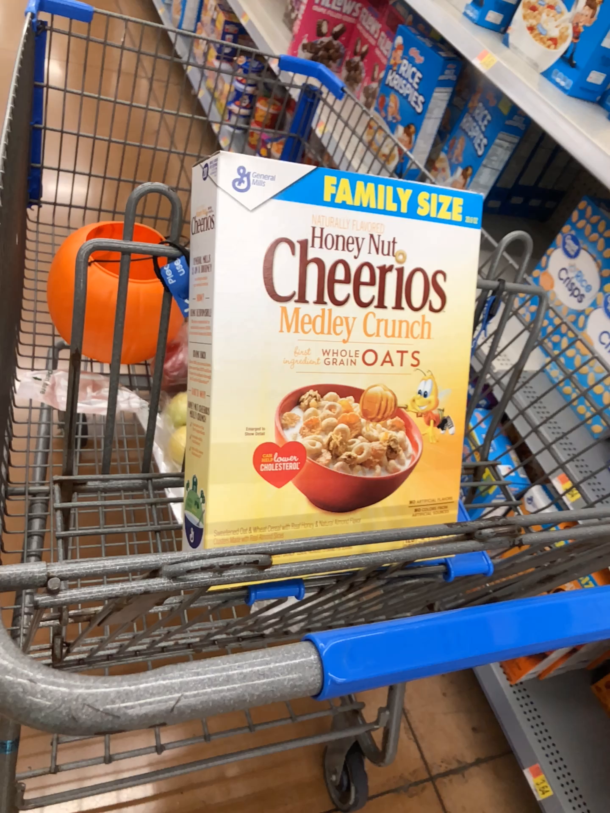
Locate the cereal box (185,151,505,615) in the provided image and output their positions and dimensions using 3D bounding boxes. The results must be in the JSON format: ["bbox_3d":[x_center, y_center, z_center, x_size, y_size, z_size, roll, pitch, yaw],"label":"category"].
[{"bbox_3d":[0.035,-0.017,0.552,0.251,0.320,0.070,-1,6,-27],"label":"cereal box"}]
